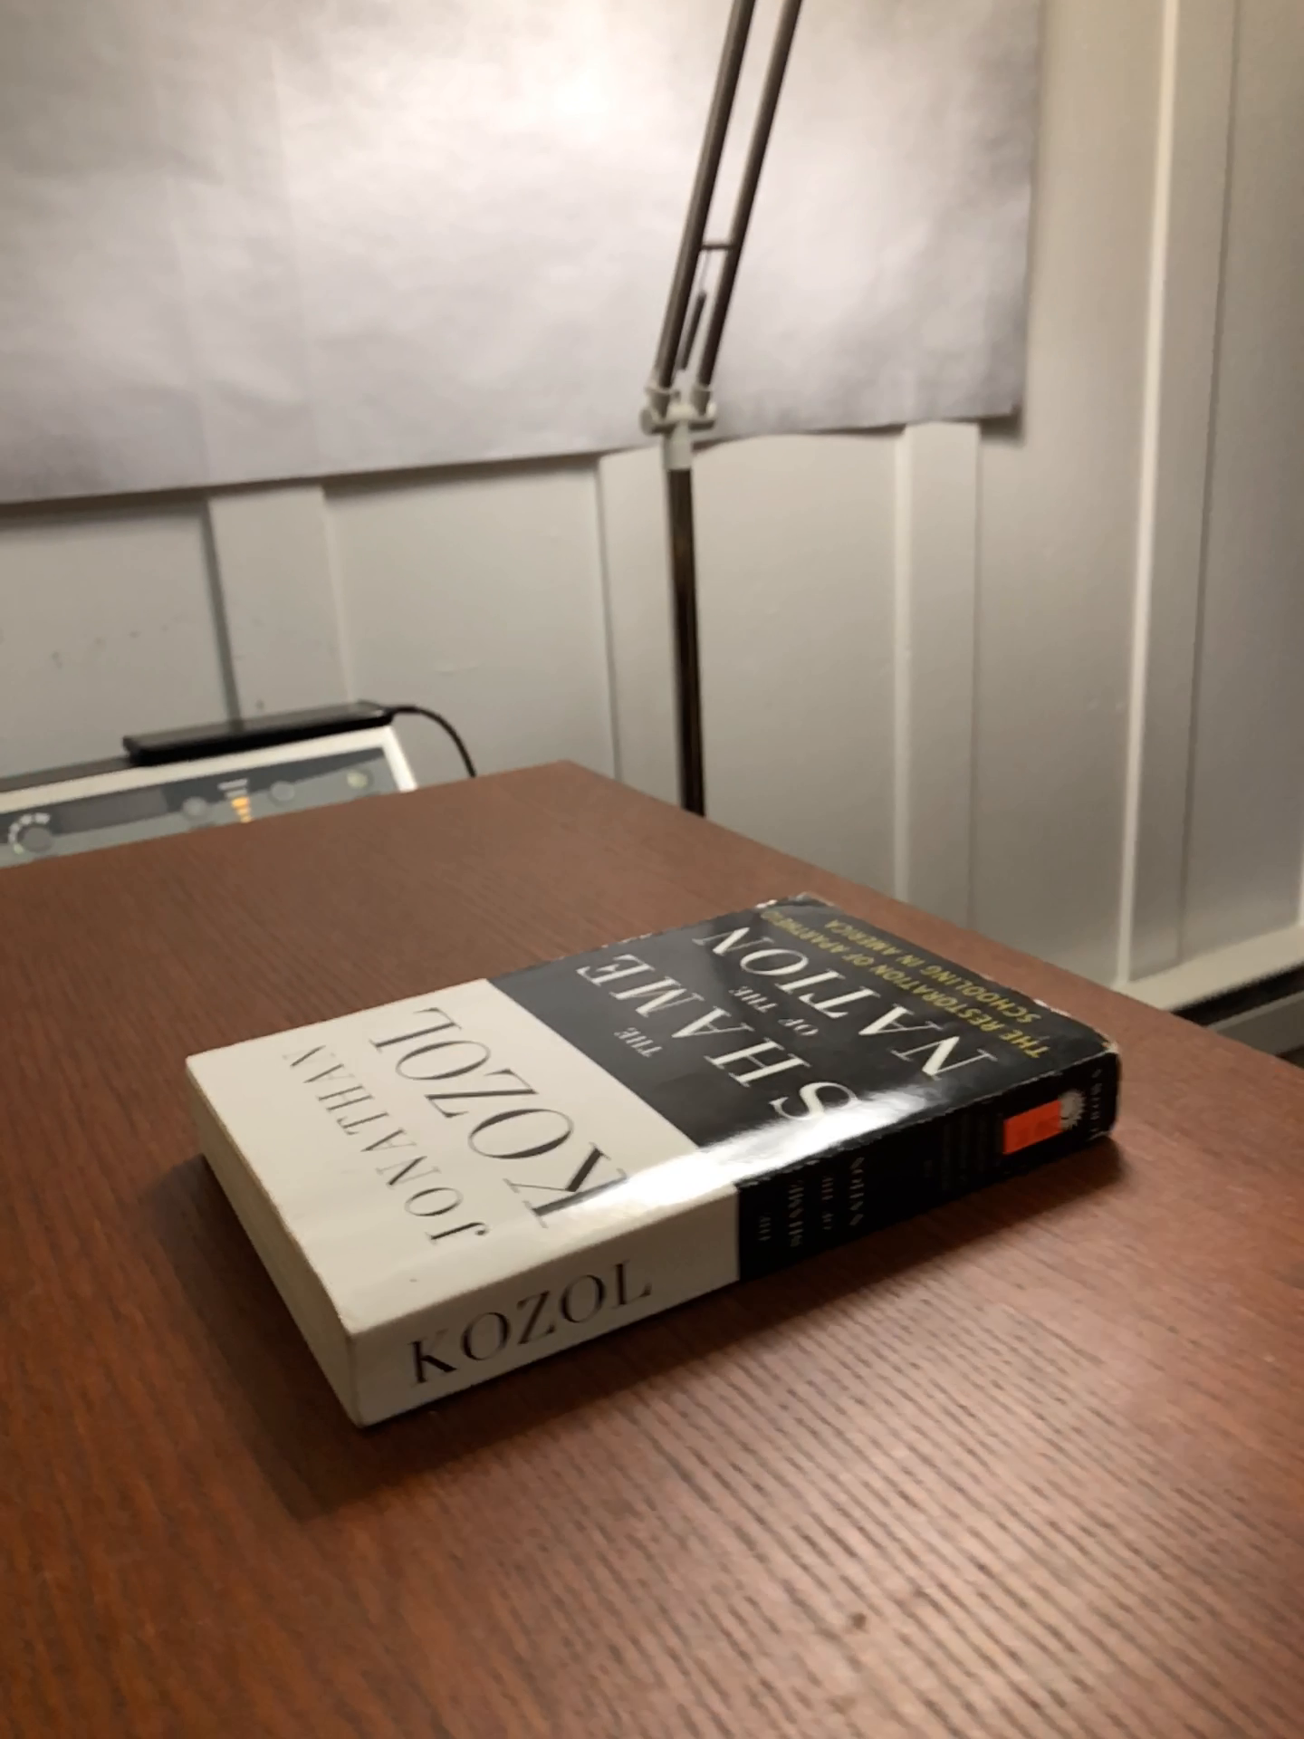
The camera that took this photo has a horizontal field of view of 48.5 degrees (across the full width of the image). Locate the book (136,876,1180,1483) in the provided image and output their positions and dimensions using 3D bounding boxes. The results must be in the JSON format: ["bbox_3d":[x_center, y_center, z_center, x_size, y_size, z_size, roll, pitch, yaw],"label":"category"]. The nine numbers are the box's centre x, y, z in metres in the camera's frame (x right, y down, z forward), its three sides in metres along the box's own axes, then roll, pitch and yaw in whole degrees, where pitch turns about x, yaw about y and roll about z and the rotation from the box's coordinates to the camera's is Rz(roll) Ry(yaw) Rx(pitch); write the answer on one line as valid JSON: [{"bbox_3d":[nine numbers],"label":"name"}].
[{"bbox_3d":[-0.003,0.060,0.391,0.230,0.030,0.160,-13,21,-27],"label":"book"}]
